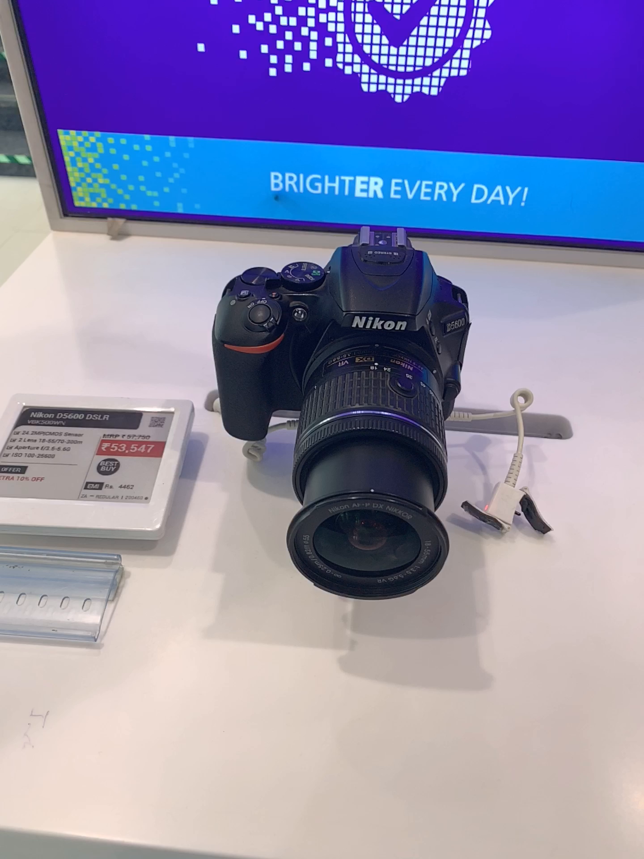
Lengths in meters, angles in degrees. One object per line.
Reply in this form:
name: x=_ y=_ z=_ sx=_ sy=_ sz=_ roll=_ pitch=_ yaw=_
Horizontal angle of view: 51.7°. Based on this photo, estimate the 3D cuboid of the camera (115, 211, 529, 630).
camera: x=0.003 y=-0.011 z=0.272 sx=0.116 sy=0.100 sz=0.141 roll=2 pitch=41 yaw=2
